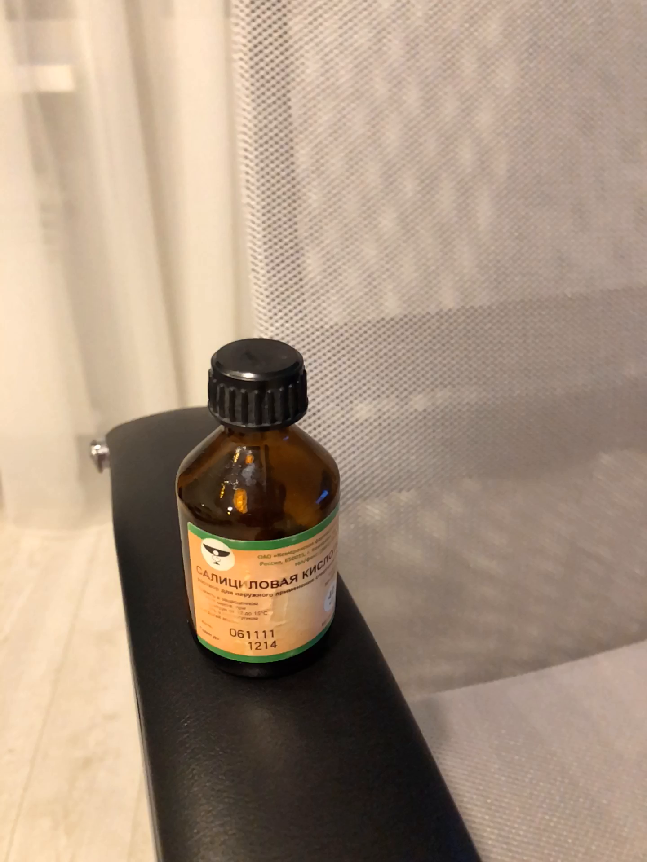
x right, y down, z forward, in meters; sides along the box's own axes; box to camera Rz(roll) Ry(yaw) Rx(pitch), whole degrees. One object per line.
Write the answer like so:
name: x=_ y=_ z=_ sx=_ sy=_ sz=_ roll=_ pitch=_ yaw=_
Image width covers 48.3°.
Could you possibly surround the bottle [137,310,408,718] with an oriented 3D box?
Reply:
bottle: x=-0.014 y=0.019 z=0.189 sx=0.050 sy=0.083 sz=0.050 roll=0 pitch=29 yaw=0
